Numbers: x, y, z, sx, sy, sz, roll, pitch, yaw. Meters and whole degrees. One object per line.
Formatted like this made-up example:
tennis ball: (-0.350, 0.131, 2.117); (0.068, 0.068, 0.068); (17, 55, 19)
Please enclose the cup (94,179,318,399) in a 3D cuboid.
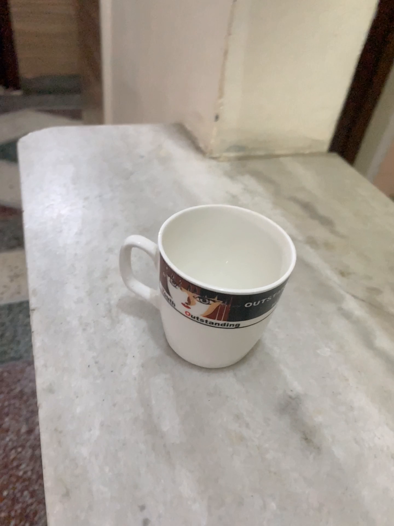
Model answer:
cup: (0.005, 0.010, 0.217); (0.090, 0.060, 0.070); (19, 41, 12)
